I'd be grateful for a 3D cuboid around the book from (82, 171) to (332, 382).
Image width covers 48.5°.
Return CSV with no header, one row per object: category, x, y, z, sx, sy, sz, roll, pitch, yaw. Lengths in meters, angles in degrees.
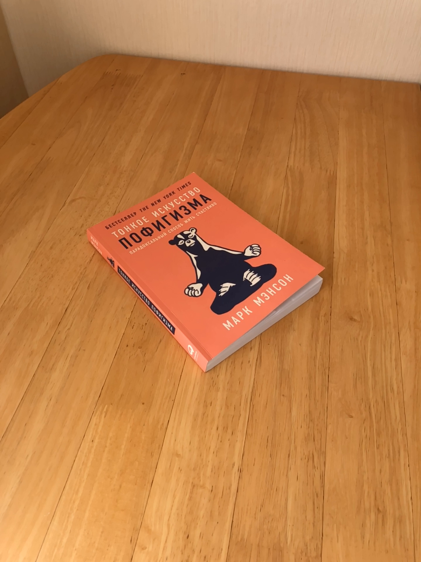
book,-0.008,-0.020,0.453,0.143,0.033,0.197,-32,57,-25
